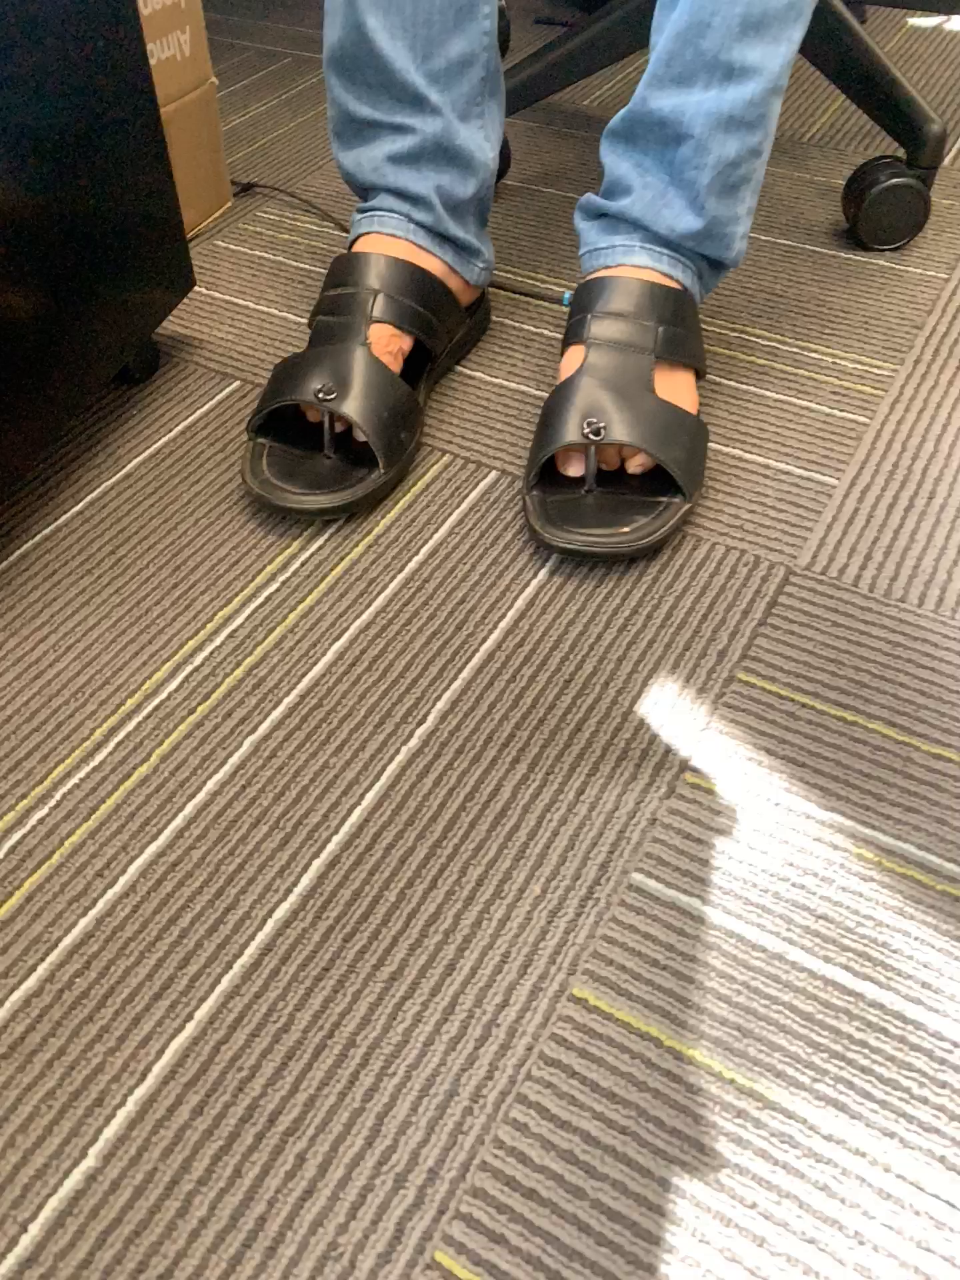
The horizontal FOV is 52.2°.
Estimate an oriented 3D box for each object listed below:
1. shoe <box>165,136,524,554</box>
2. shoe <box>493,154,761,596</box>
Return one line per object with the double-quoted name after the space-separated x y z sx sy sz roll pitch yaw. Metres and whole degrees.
-0.069 -0.217 0.669 0.118 0.115 0.317 11 50 13 "shoe"
0.104 -0.188 0.639 0.118 0.115 0.318 9 49 11 "shoe"
